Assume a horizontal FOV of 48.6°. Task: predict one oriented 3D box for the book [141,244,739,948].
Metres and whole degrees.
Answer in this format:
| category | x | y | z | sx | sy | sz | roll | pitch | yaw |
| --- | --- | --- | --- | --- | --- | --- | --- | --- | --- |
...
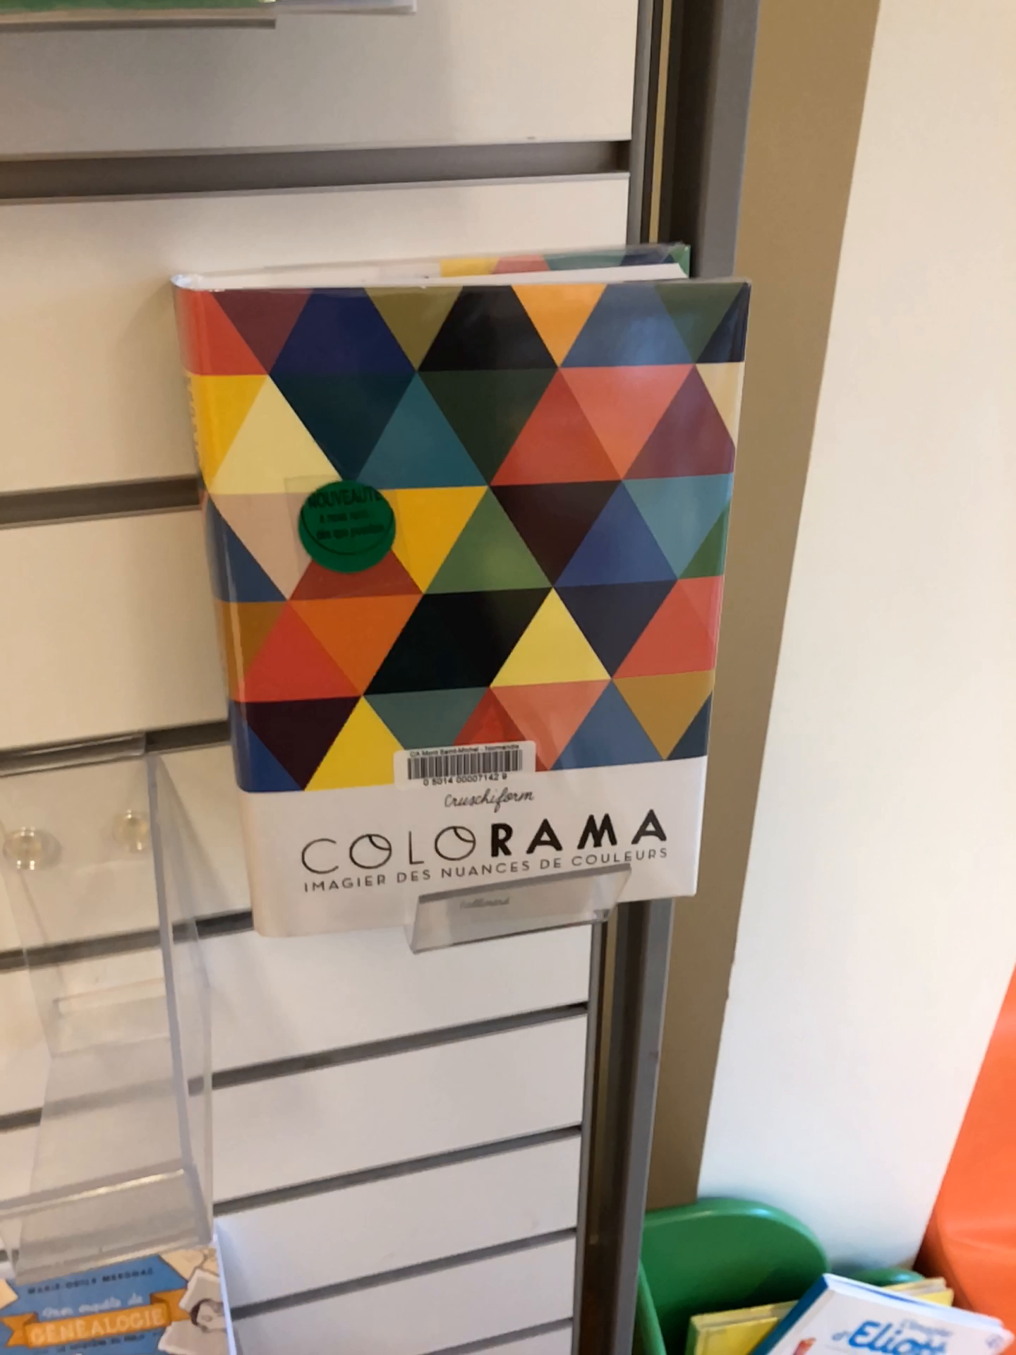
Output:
| category | x | y | z | sx | sy | sz | roll | pitch | yaw |
| --- | --- | --- | --- | --- | --- | --- | --- | --- | --- |
| book | -0.018 | -0.022 | 0.389 | 0.170 | 0.231 | 0.046 | -4 | 26 | -8 |
